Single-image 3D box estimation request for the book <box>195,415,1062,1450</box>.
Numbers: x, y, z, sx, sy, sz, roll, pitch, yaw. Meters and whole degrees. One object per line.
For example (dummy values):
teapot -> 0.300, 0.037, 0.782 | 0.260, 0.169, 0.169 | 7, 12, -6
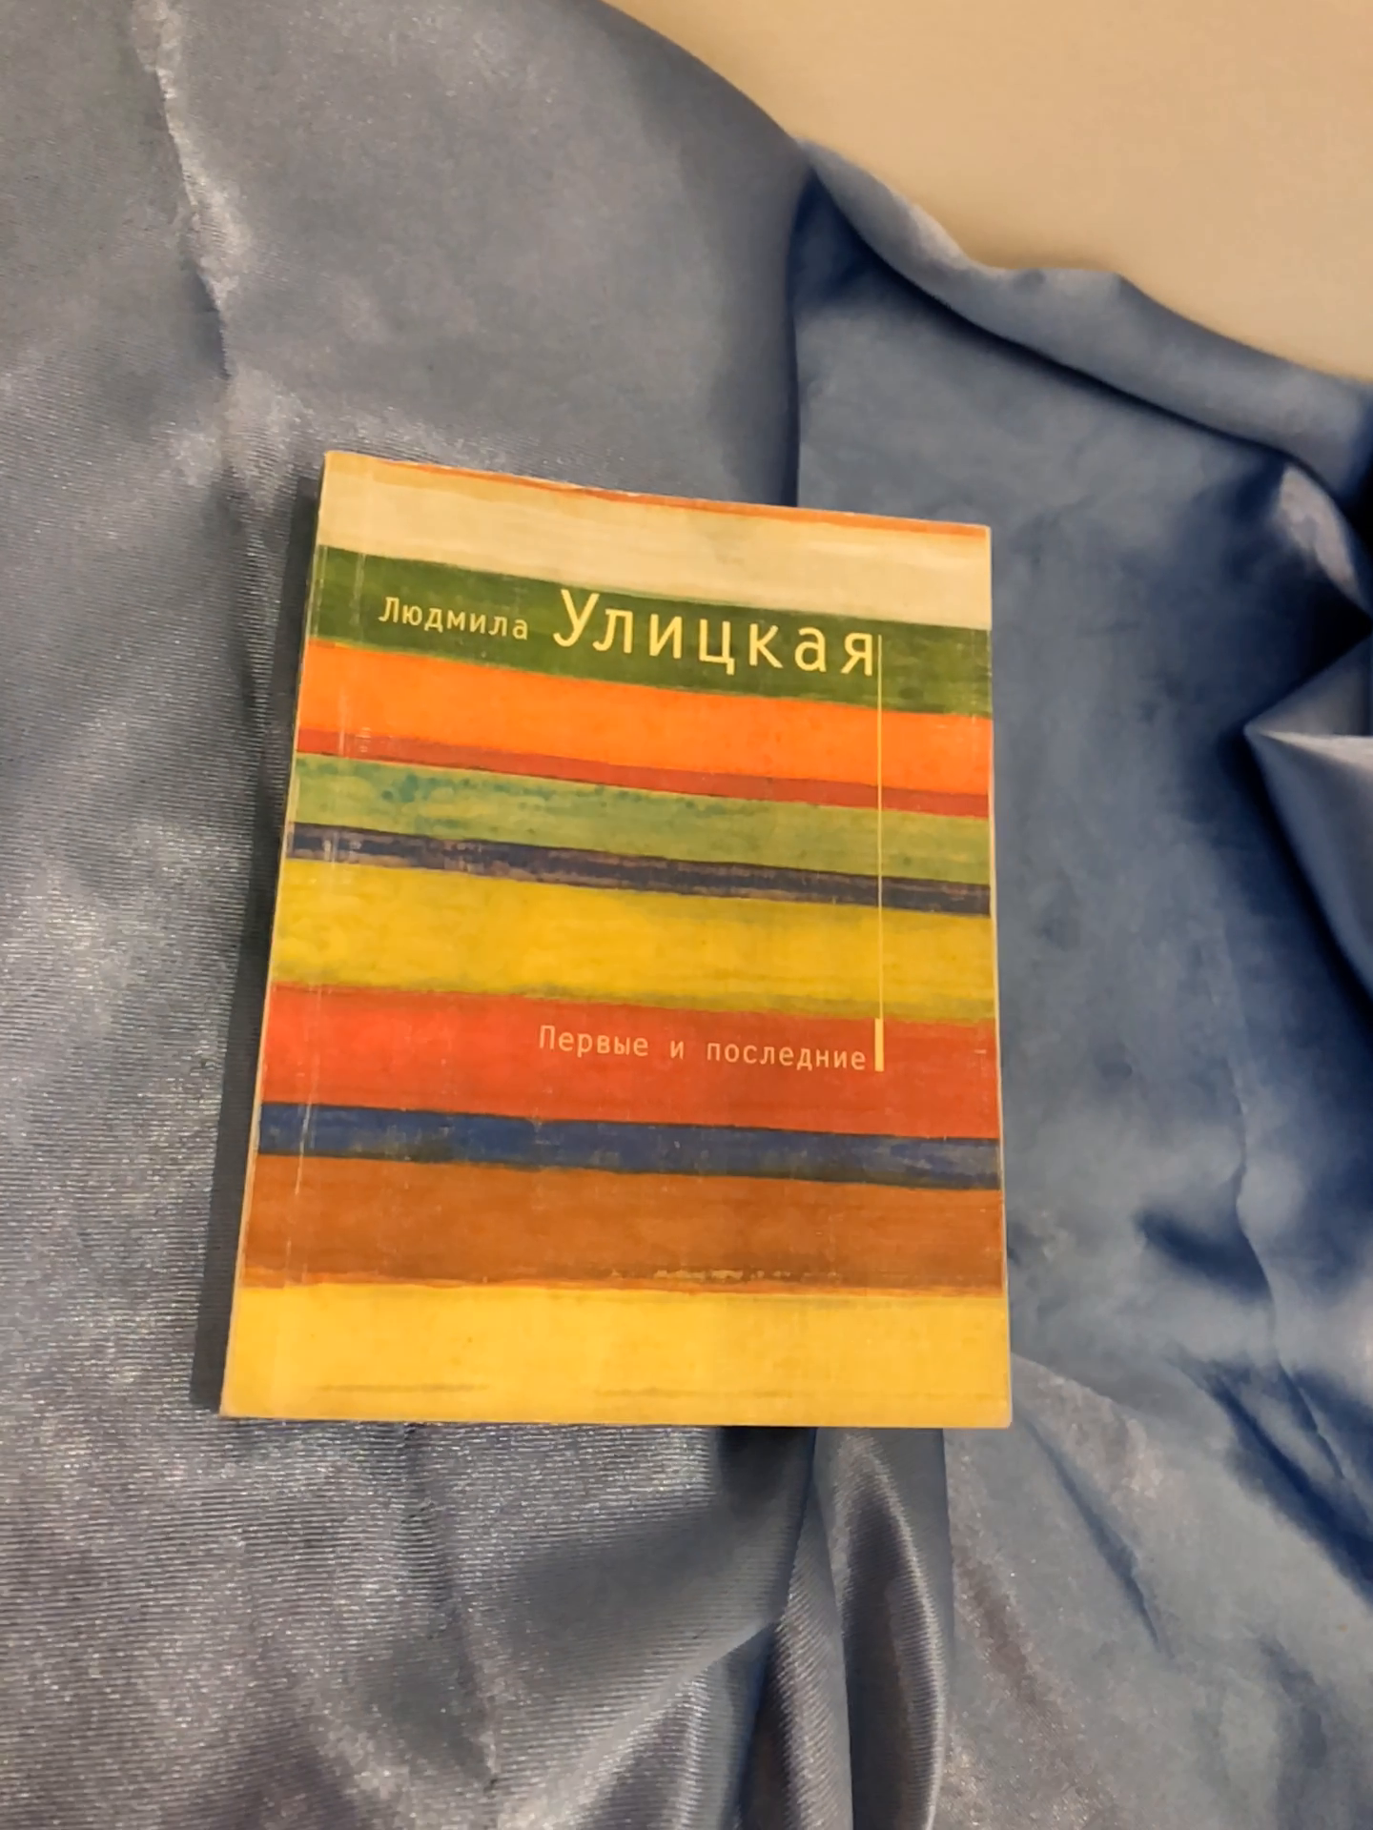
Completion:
book -> -0.005, 0.001, 0.262 | 0.129, 0.026, 0.167 | 4, 73, -9
